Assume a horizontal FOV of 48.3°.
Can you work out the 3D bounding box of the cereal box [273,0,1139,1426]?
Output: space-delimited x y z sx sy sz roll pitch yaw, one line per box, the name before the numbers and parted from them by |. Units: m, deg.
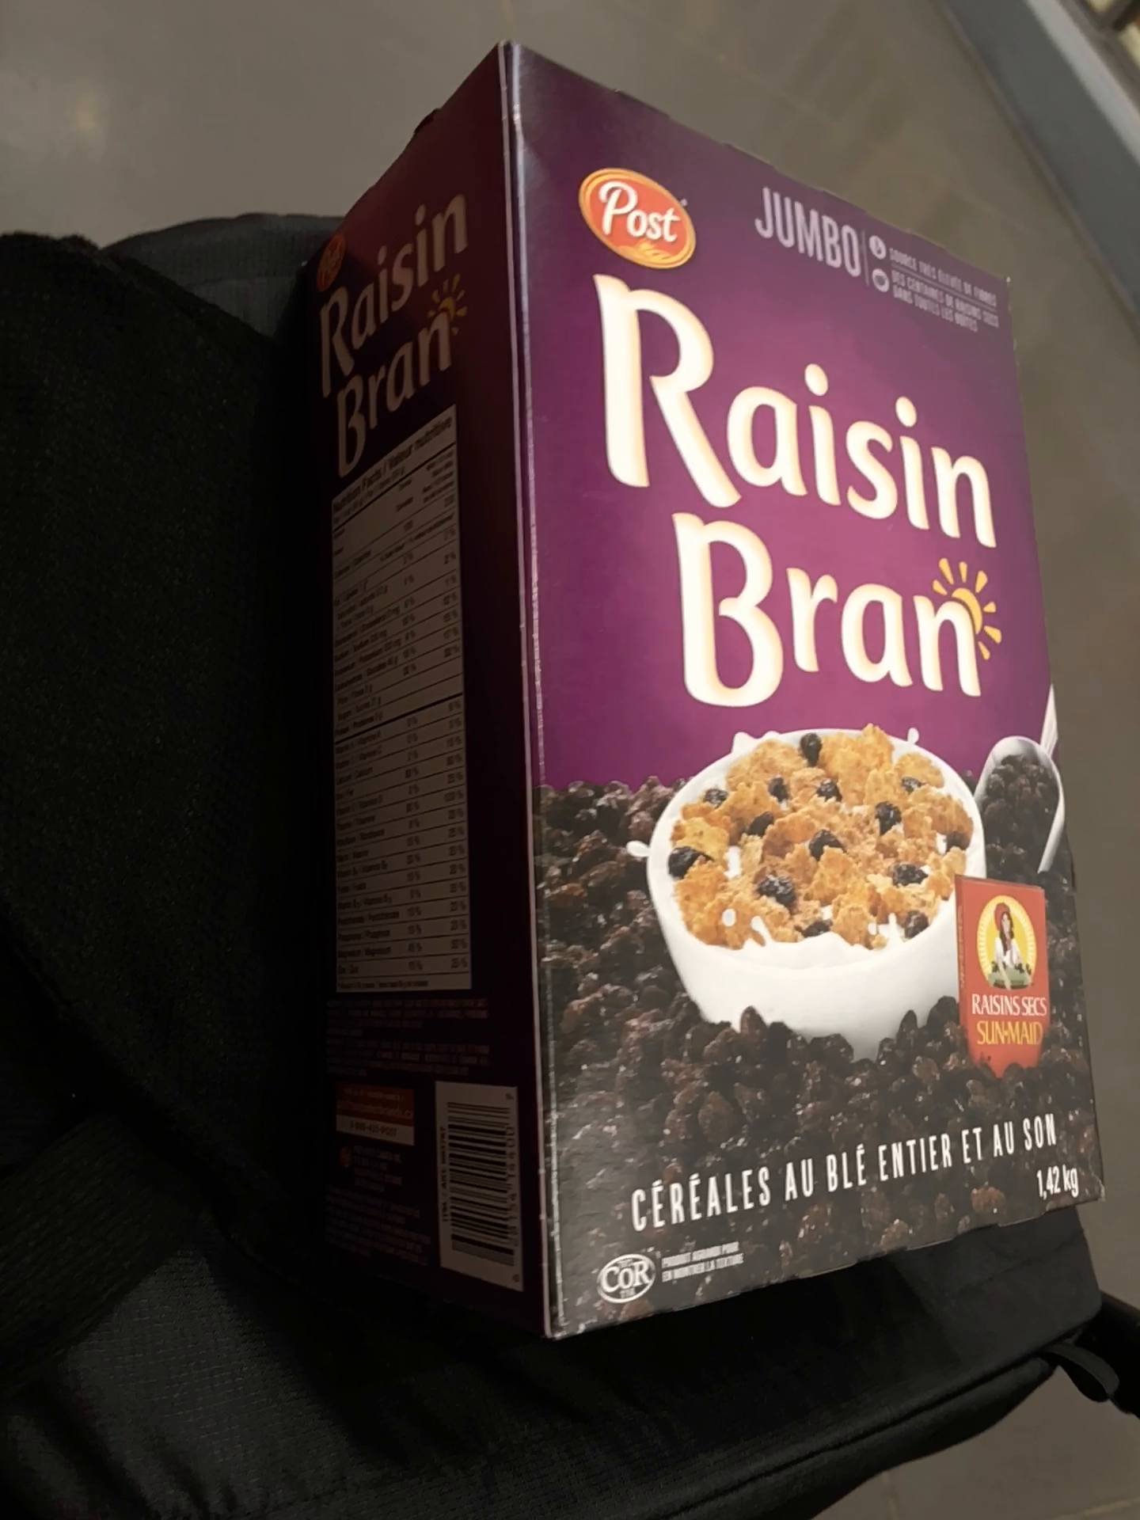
cereal box | 0.039 -0.009 0.356 0.211 0.109 0.290 4 79 -35
